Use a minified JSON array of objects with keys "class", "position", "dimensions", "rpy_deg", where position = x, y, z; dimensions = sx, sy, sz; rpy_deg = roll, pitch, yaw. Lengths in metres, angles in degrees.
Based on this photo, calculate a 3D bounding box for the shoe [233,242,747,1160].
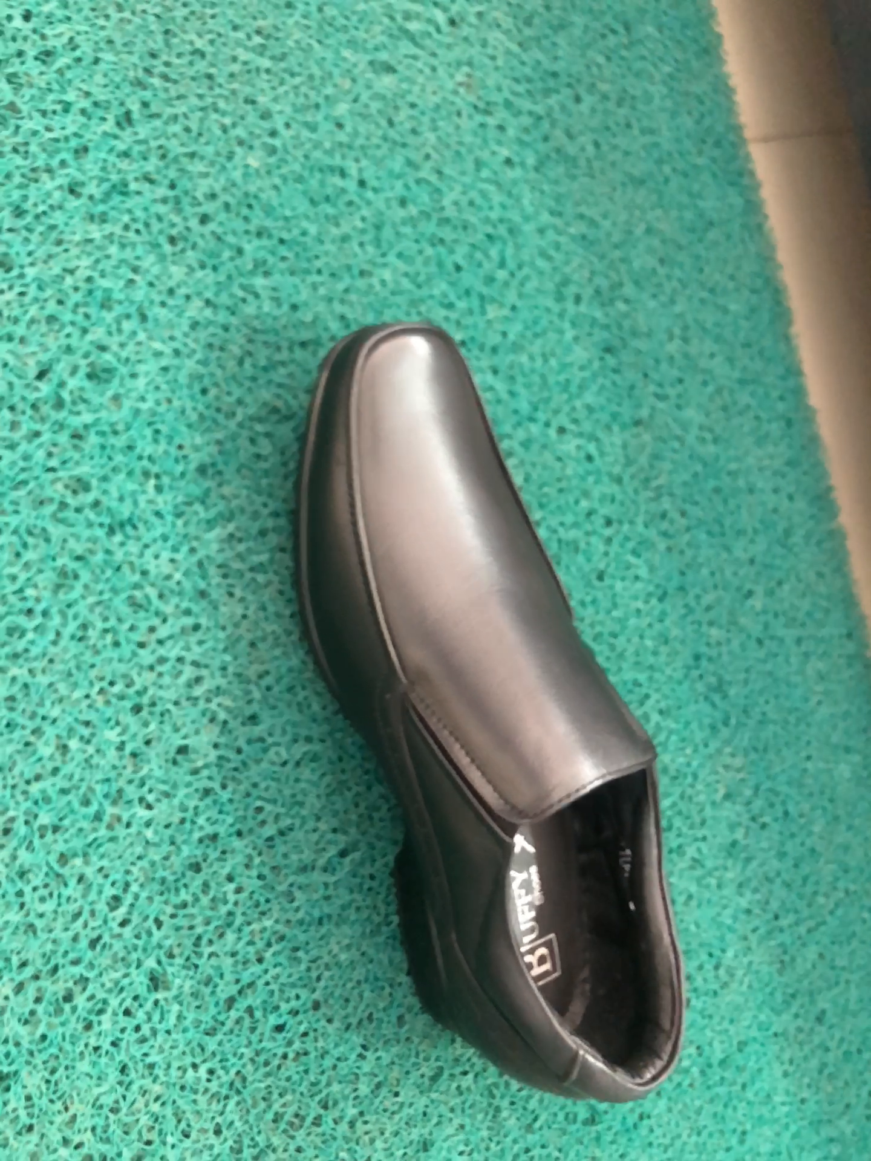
[{"class":"shoe","position":[0.022,0.045,0.365],"dimensions":[0.101,0.089,0.310],"rpy_deg":[-15,96,-37]}]
